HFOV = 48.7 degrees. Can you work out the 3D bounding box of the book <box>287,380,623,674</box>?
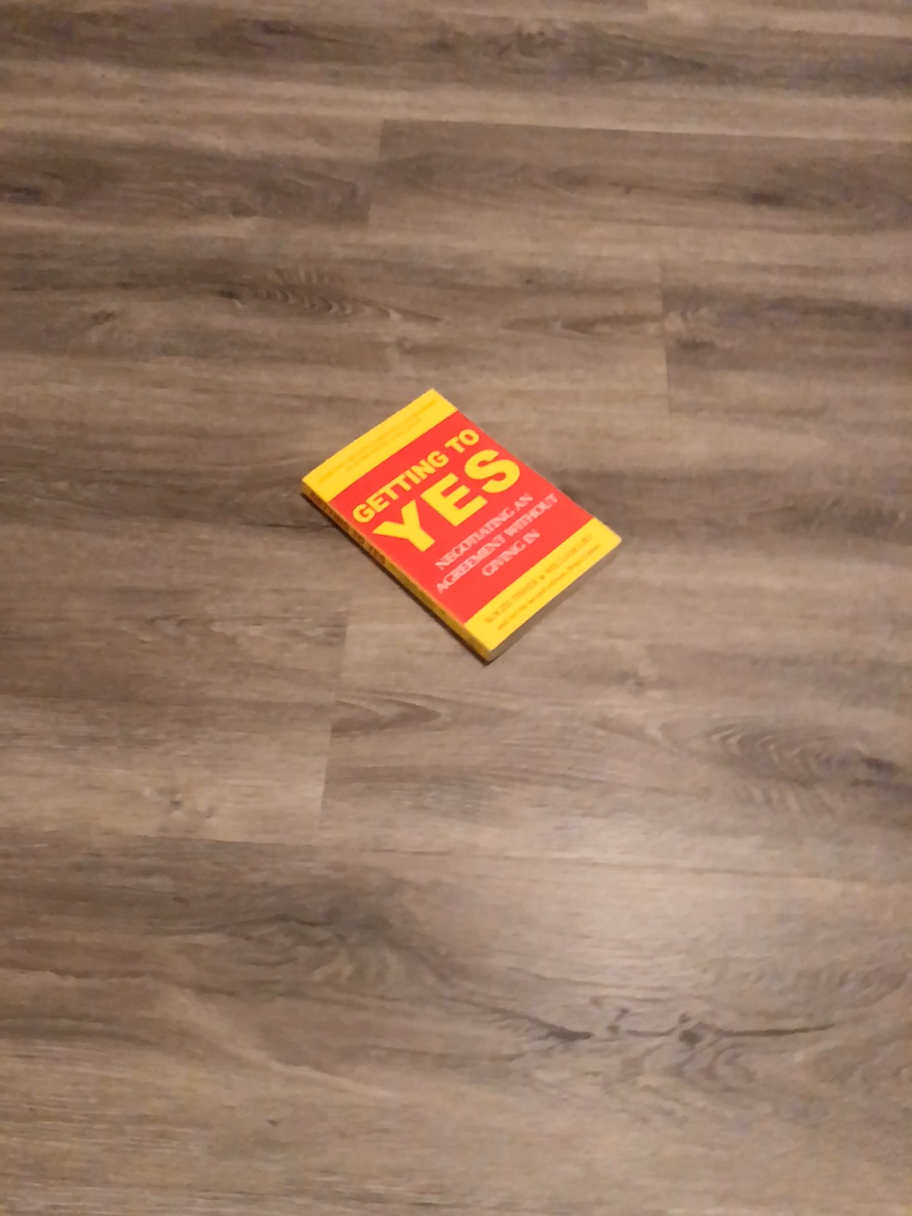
[{"bbox_3d":[-0.003,-0.062,0.688,0.130,0.026,0.190,-40,67,-21],"label":"book"}]
